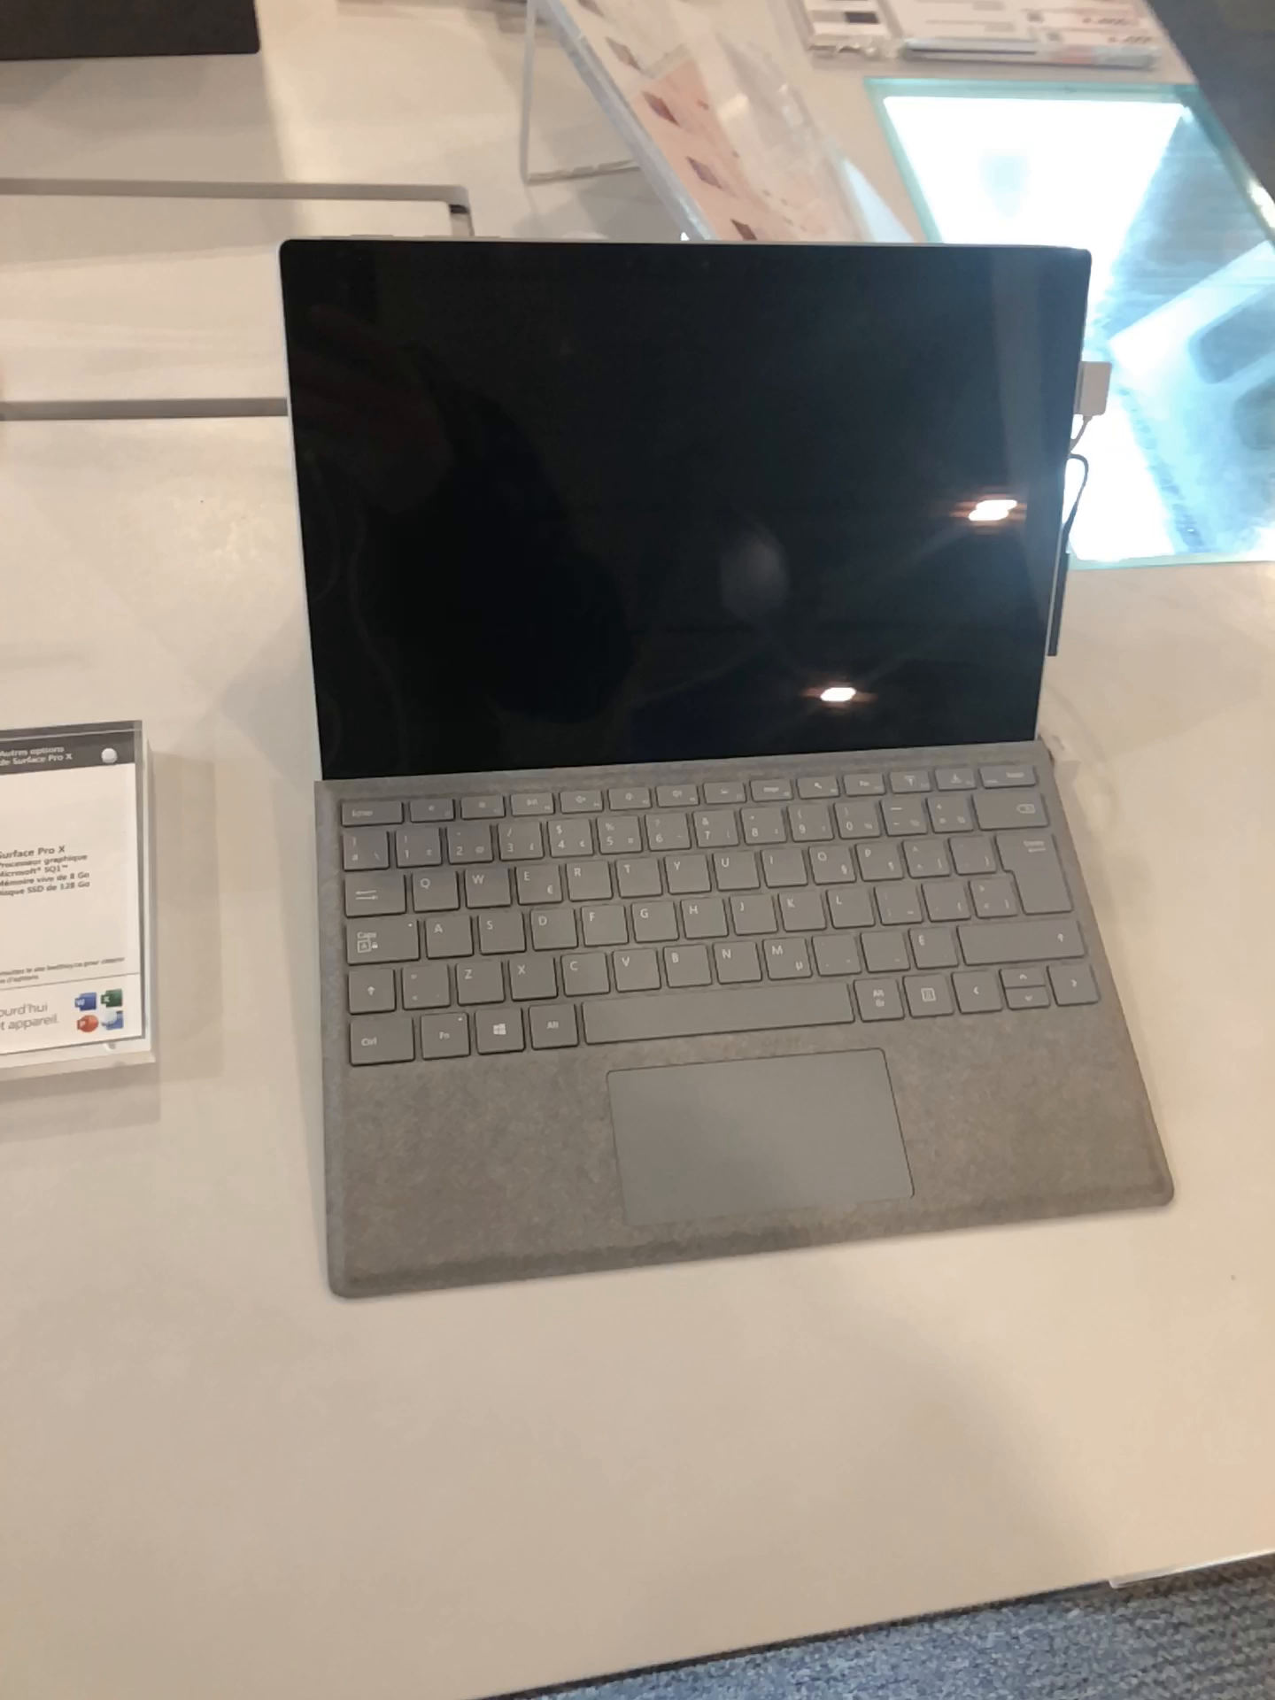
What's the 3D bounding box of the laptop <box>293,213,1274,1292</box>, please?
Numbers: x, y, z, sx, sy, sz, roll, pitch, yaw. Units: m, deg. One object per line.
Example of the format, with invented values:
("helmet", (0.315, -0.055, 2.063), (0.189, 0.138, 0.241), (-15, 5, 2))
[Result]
("laptop", (0.035, -0.043, 0.468), (0.278, 0.148, 0.298), (-3, 62, -10))
